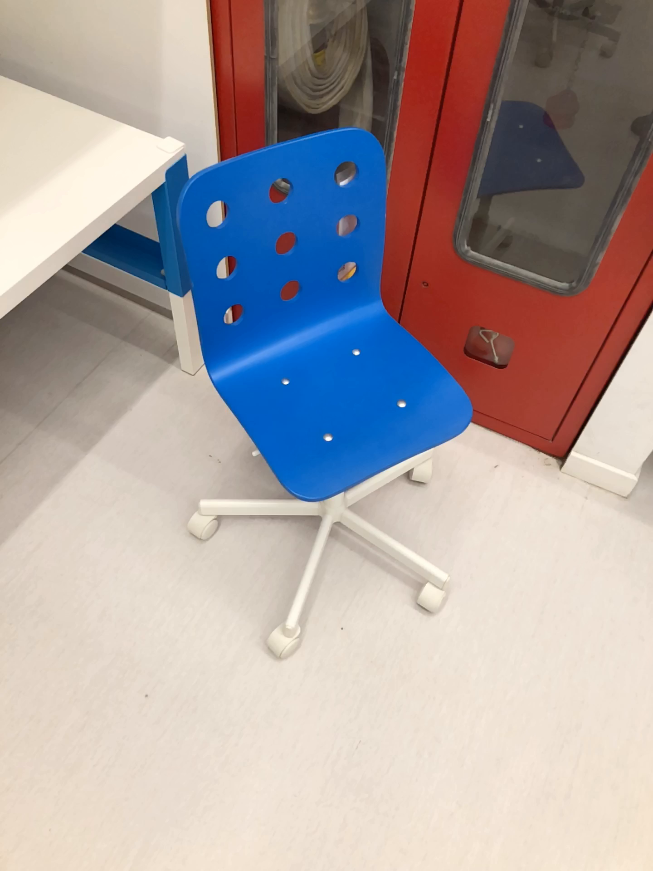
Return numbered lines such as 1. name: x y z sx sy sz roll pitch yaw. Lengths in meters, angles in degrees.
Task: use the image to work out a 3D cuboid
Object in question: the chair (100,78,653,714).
1. chair: 0.078 -0.035 1.100 0.551 0.686 0.492 -26 59 -21
